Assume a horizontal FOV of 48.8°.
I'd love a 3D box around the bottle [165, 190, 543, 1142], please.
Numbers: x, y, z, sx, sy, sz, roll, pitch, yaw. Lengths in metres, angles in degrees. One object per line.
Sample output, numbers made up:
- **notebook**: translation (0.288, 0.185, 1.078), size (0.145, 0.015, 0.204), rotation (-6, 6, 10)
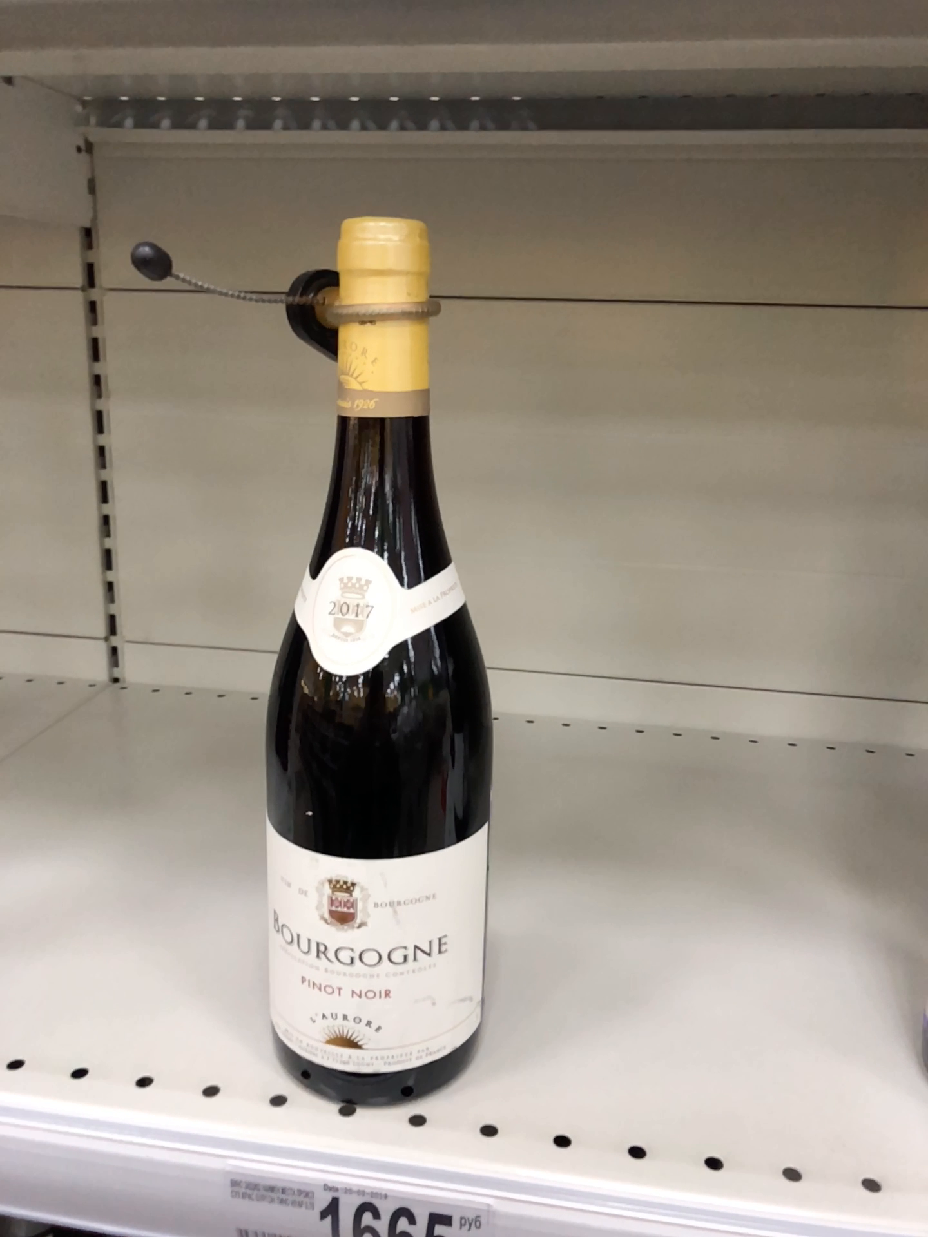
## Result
- **bottle**: translation (-0.031, 0.016, 0.349), size (0.090, 0.289, 0.090), rotation (1, 15, 0)
